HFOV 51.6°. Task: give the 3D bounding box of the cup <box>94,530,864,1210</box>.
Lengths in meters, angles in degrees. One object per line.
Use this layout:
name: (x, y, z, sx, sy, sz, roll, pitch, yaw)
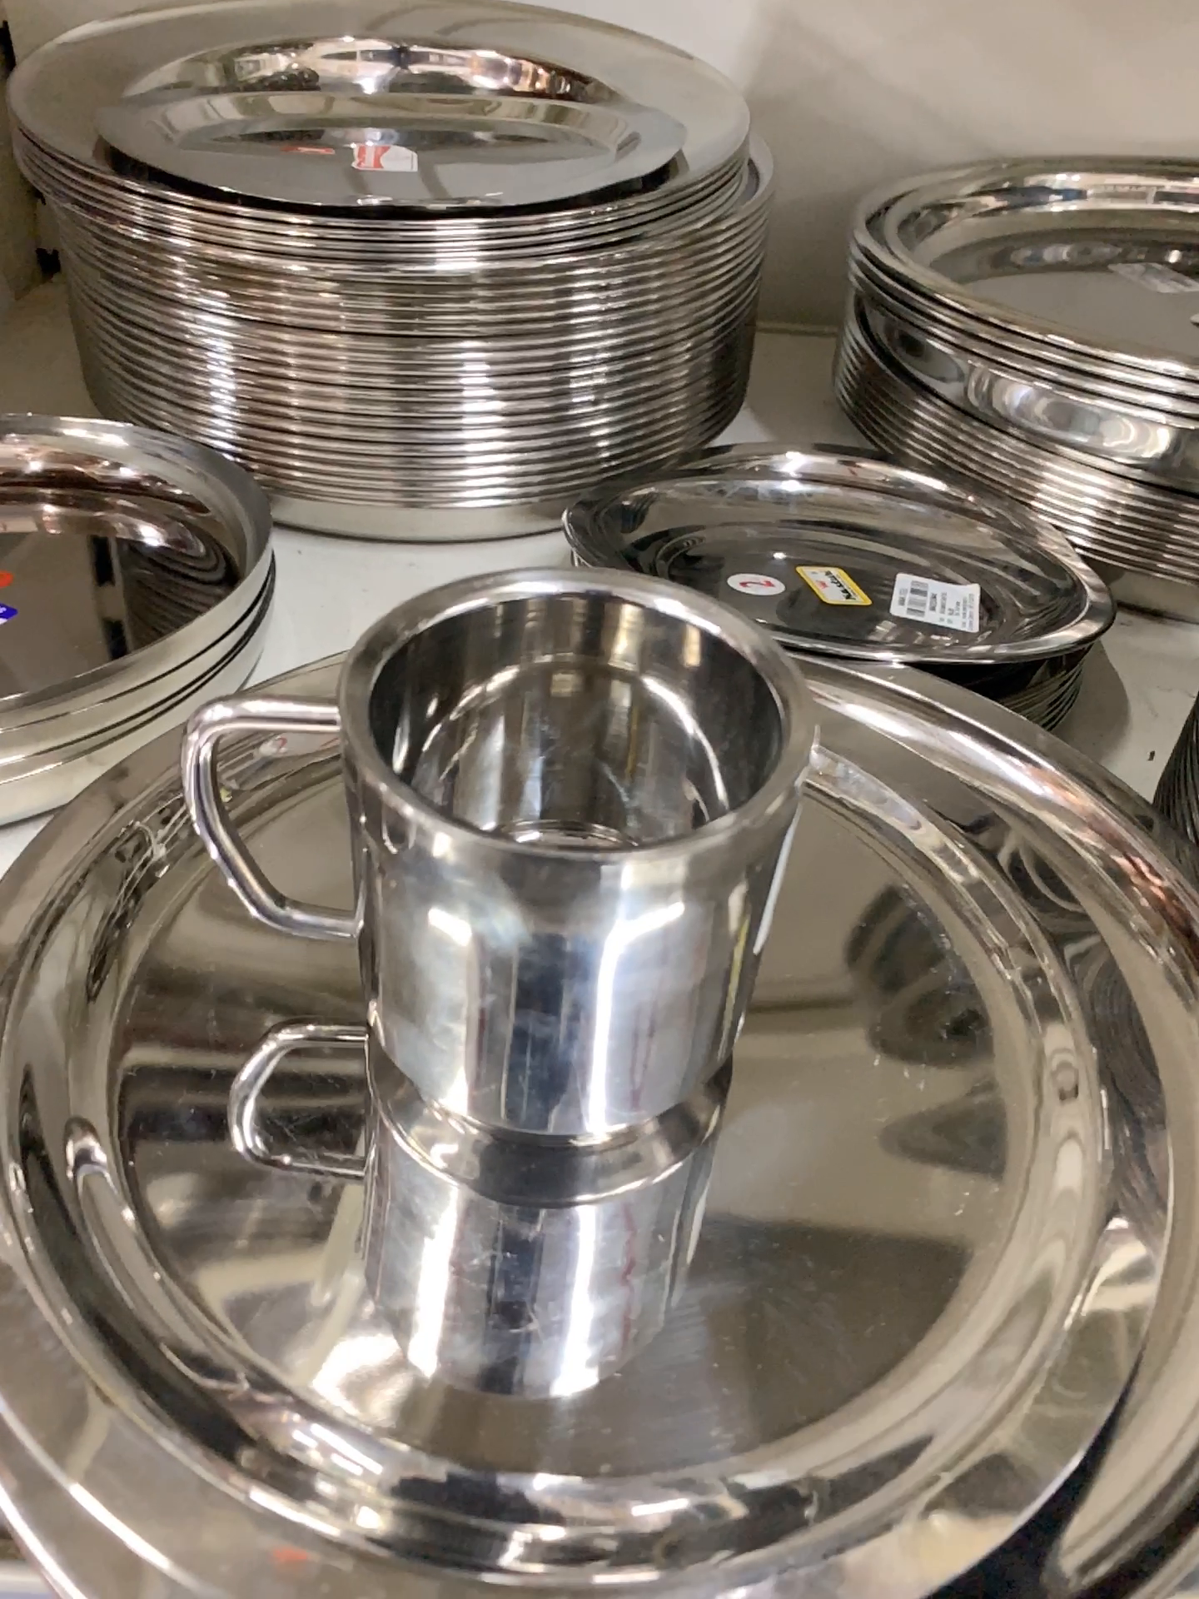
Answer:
cup: (-0.014, 0.010, 0.194, 0.090, 0.070, 0.070, 5, 40, 1)
